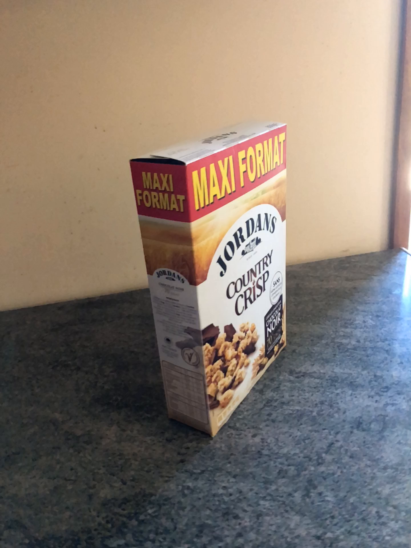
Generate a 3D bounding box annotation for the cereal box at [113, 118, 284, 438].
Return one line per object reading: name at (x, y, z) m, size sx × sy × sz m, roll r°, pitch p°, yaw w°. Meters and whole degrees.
cereal box at (0.014, -0.004, 0.513) m, size 0.070 × 0.298 × 0.201 m, roll 13°, pitch 31°, yaw 31°
